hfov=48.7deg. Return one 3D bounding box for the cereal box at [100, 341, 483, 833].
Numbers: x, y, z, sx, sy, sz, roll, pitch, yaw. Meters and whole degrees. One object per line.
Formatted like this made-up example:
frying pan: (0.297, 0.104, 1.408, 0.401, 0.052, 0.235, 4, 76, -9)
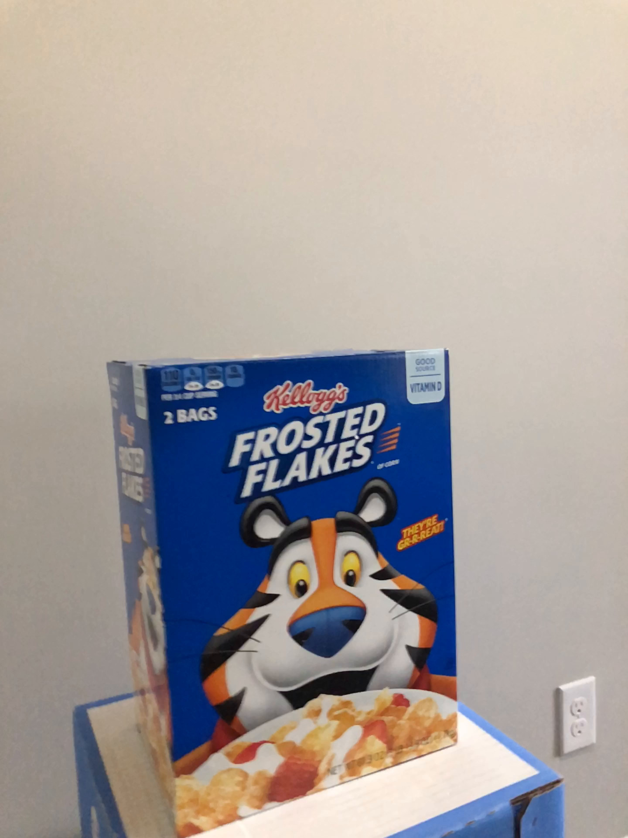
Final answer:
cereal box: (-0.021, 0.102, 0.582, 0.260, 0.320, 0.170, -6, 7, -23)
